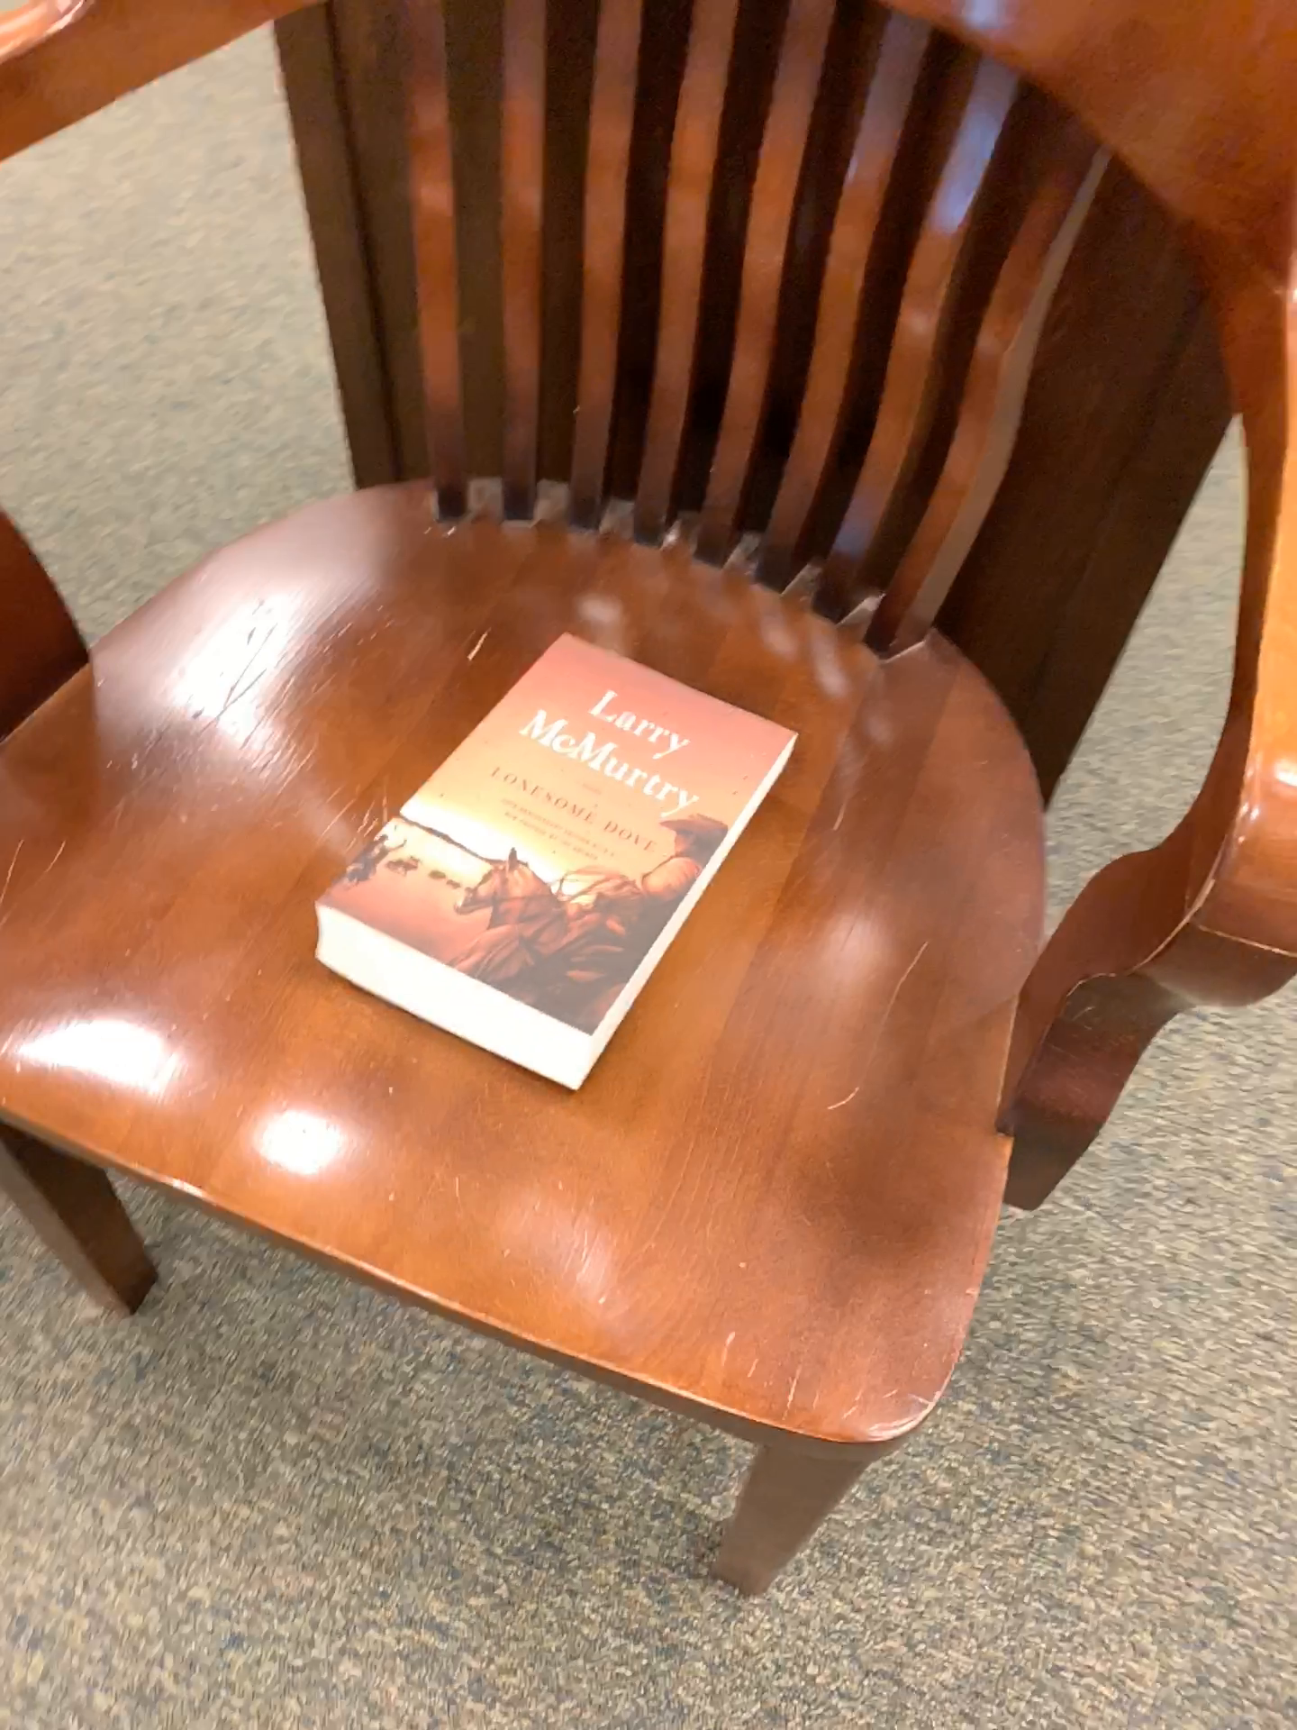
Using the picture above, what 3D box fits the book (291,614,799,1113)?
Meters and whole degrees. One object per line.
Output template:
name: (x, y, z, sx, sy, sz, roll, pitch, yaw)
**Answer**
book: (-0.040, -0.011, 0.606, 0.140, 0.060, 0.201, 25, 53, 14)
